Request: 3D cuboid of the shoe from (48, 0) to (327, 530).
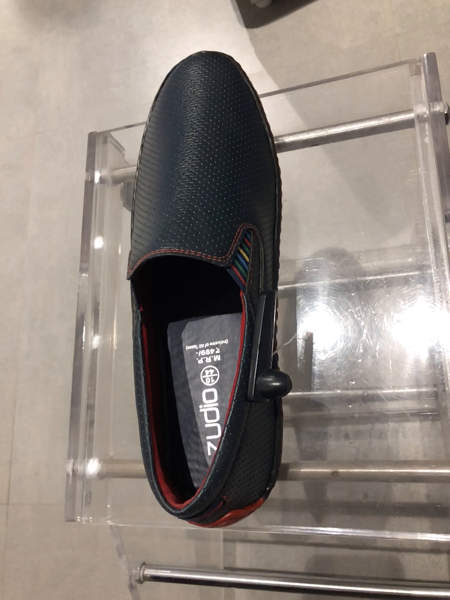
[{"bbox_3d":[-0.019,-0.023,0.290,0.110,0.100,0.270,-9,74,18],"label":"shoe"}]
